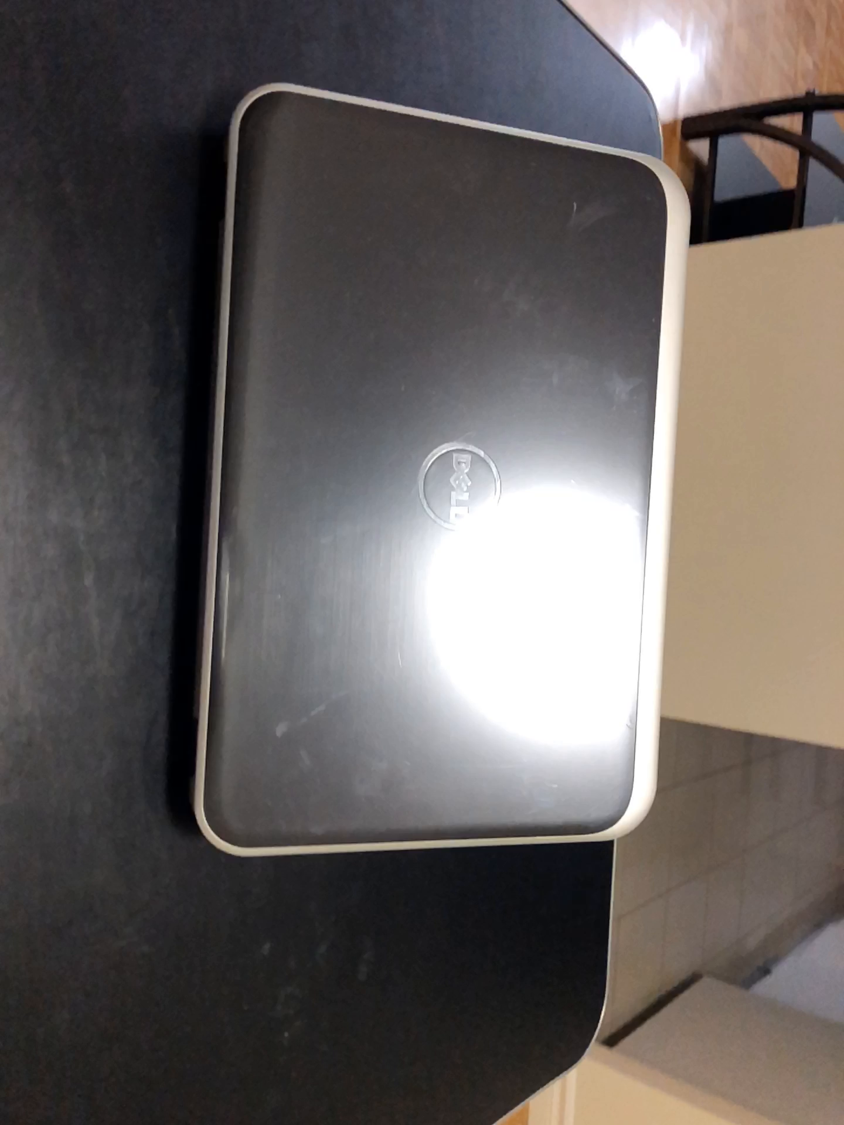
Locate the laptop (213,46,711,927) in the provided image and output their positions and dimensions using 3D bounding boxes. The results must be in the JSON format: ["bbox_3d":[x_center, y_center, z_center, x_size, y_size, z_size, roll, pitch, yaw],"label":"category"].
[{"bbox_3d":[0.035,-0.033,0.511,0.241,0.137,0.356,2,91,-51],"label":"laptop"}]
